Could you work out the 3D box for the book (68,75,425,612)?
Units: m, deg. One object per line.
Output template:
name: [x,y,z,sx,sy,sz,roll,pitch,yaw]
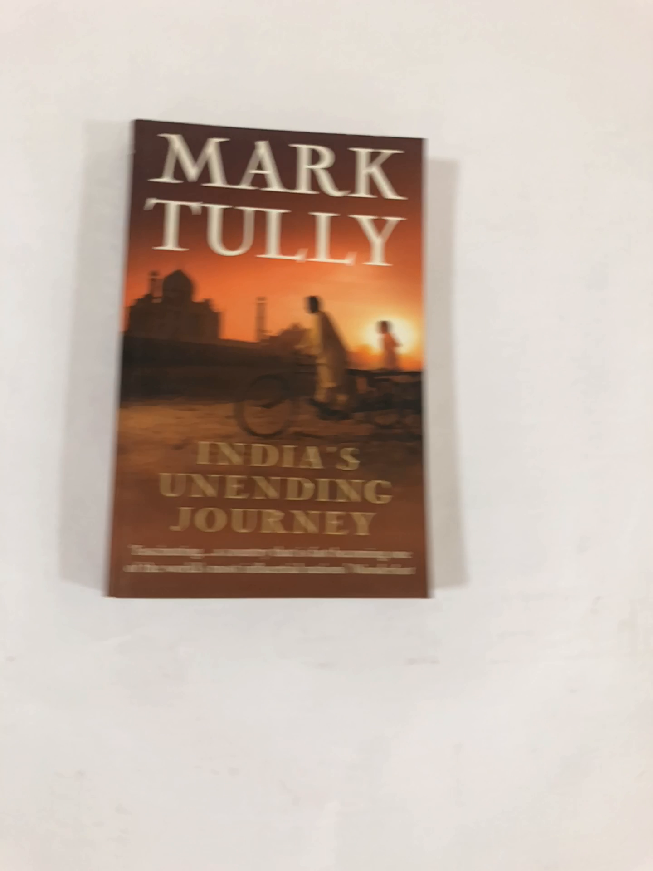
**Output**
book: [-0.028,-0.036,0.301,0.130,0.030,0.210,2,80,-8]
